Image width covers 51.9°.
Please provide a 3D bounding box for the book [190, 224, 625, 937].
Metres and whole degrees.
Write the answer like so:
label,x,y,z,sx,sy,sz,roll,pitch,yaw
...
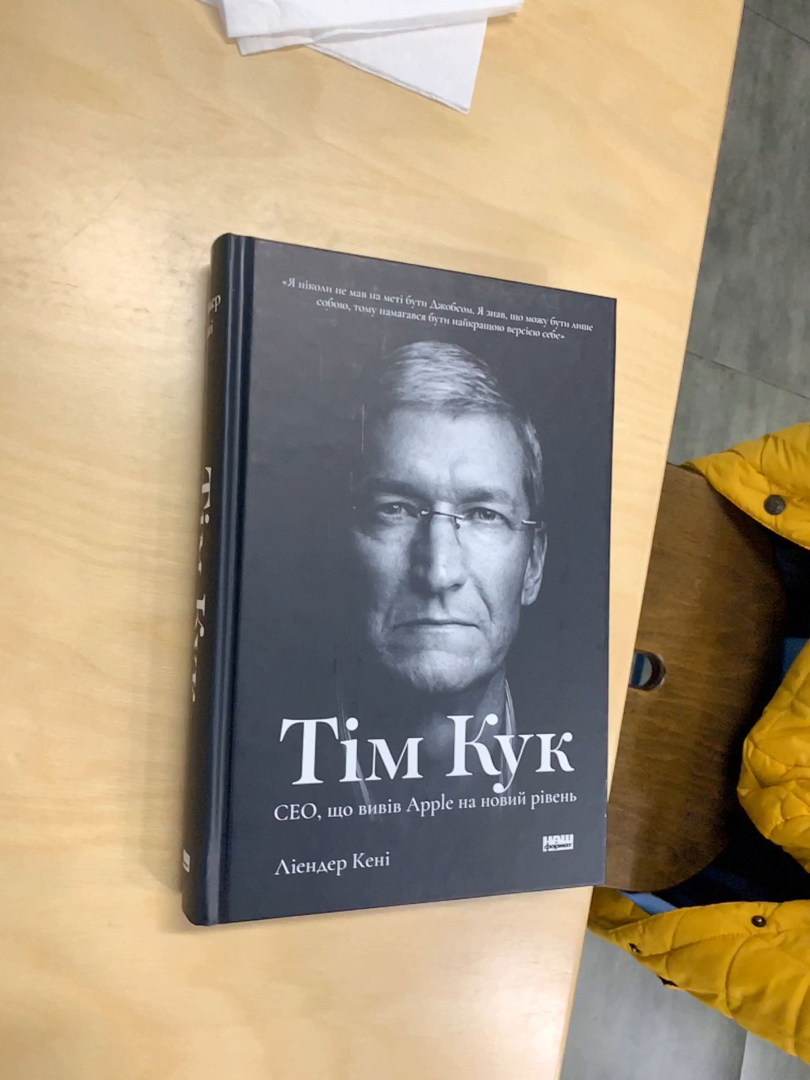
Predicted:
label,x,y,z,sx,sy,sz,roll,pitch,yaw
book,0.005,0.014,0.293,0.144,0.034,0.217,3,86,-19
